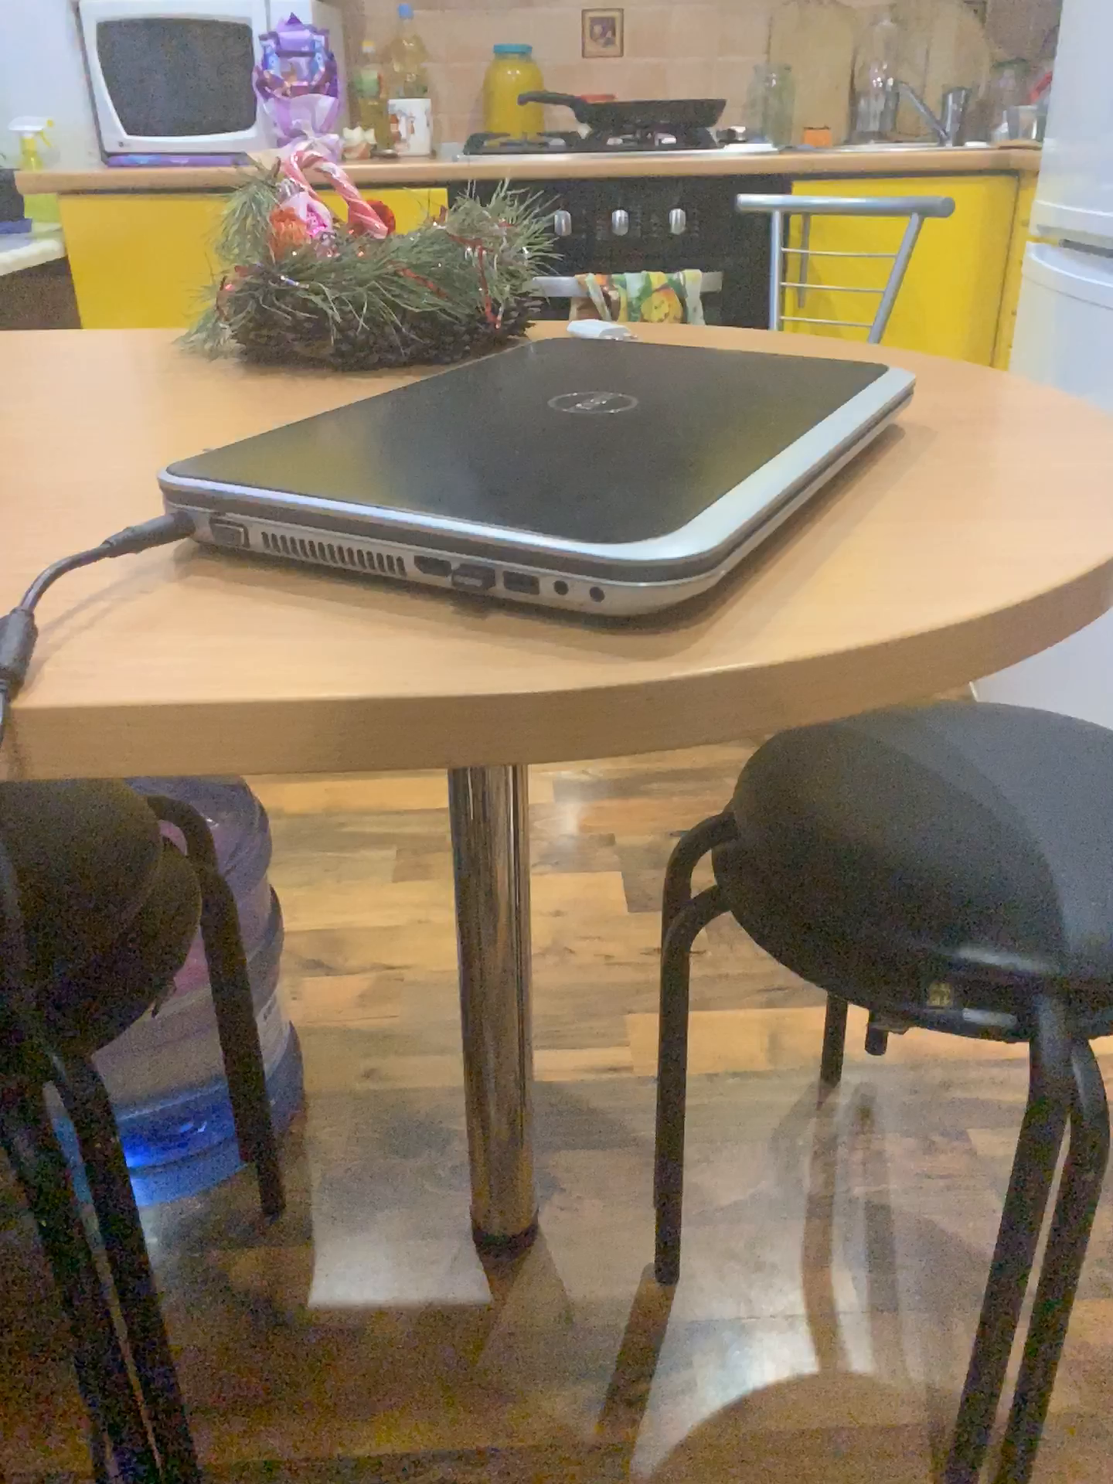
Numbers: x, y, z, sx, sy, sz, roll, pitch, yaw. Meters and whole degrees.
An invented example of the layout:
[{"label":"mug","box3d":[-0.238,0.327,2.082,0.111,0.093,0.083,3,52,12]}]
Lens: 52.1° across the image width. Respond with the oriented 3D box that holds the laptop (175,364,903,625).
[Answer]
[{"label":"laptop","box3d":[0.020,-0.146,0.577,0.225,0.004,0.351,16,33,24]}]
